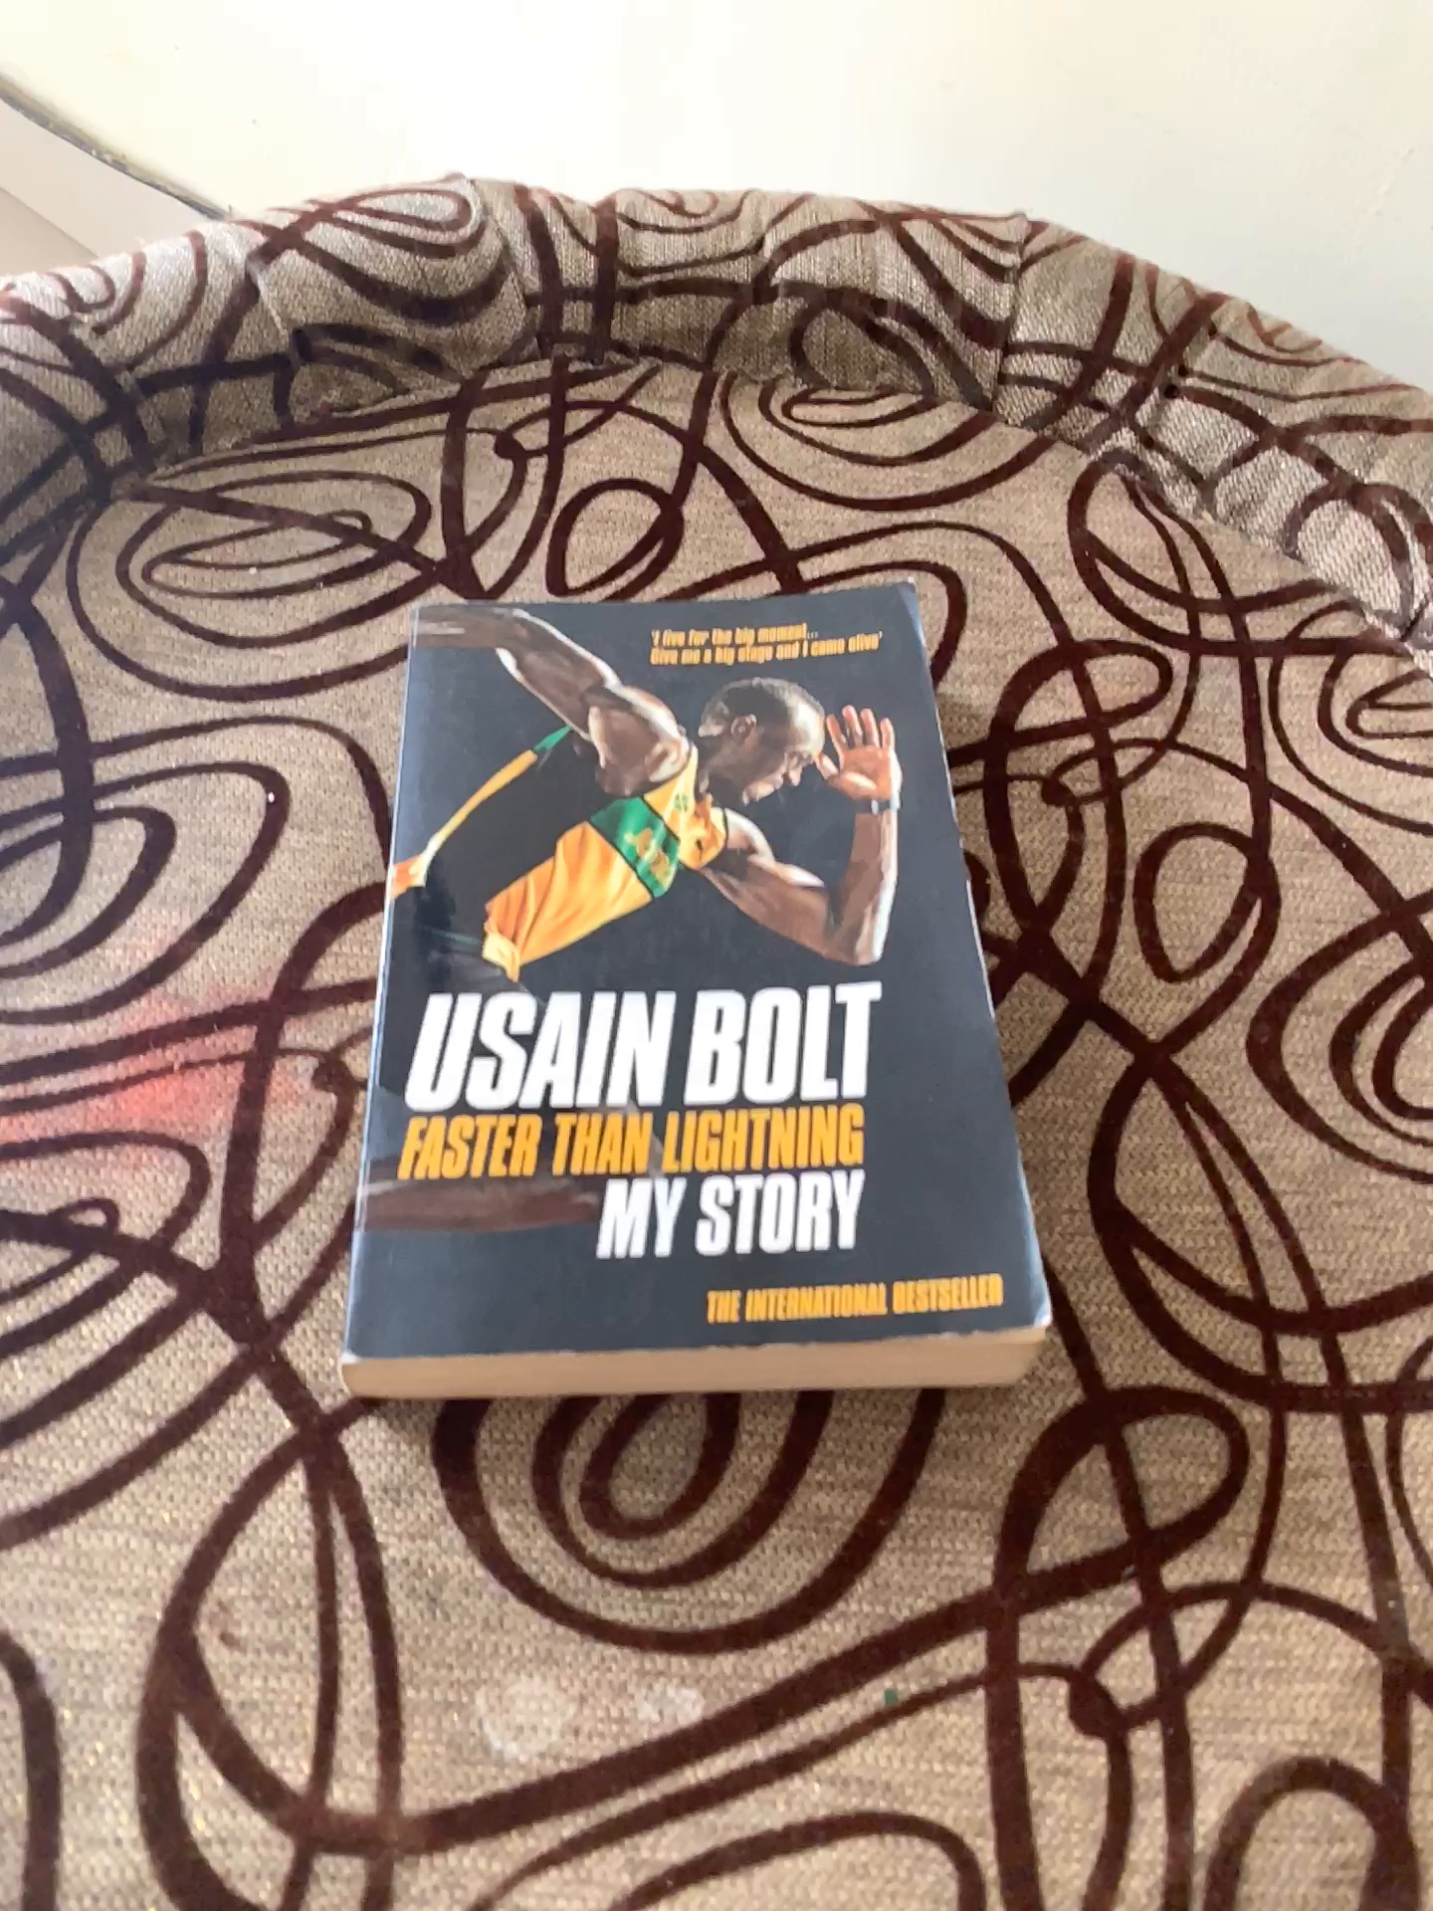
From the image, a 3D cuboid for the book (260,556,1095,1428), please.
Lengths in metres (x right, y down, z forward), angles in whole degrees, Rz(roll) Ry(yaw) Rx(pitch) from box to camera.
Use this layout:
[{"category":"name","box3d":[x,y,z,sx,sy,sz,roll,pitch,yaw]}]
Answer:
[{"category":"book","box3d":[-0.011,-0.007,0.316,0.140,0.030,0.201,-1,55,-3]}]
